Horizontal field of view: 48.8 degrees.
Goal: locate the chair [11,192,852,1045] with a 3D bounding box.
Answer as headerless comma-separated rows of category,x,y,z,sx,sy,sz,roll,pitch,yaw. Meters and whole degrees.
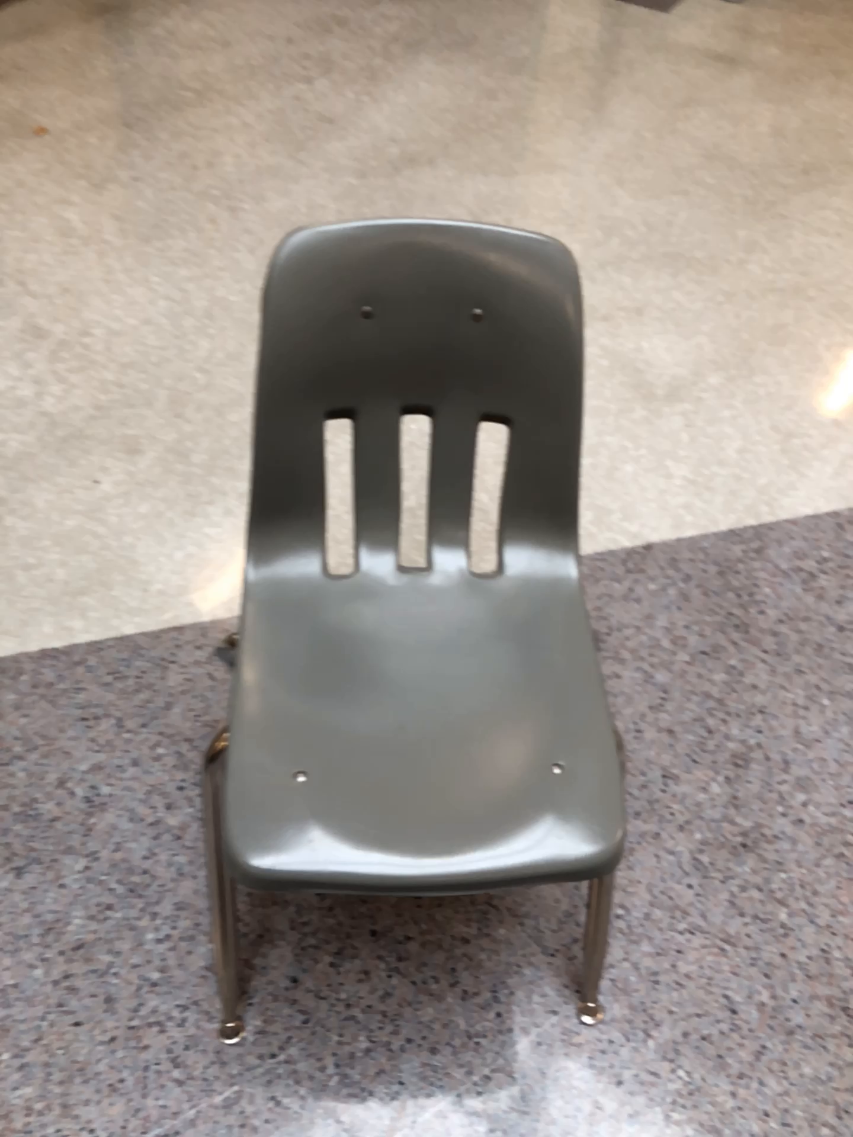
chair,-0.003,0.079,0.953,0.510,0.666,0.553,-1,49,-5
